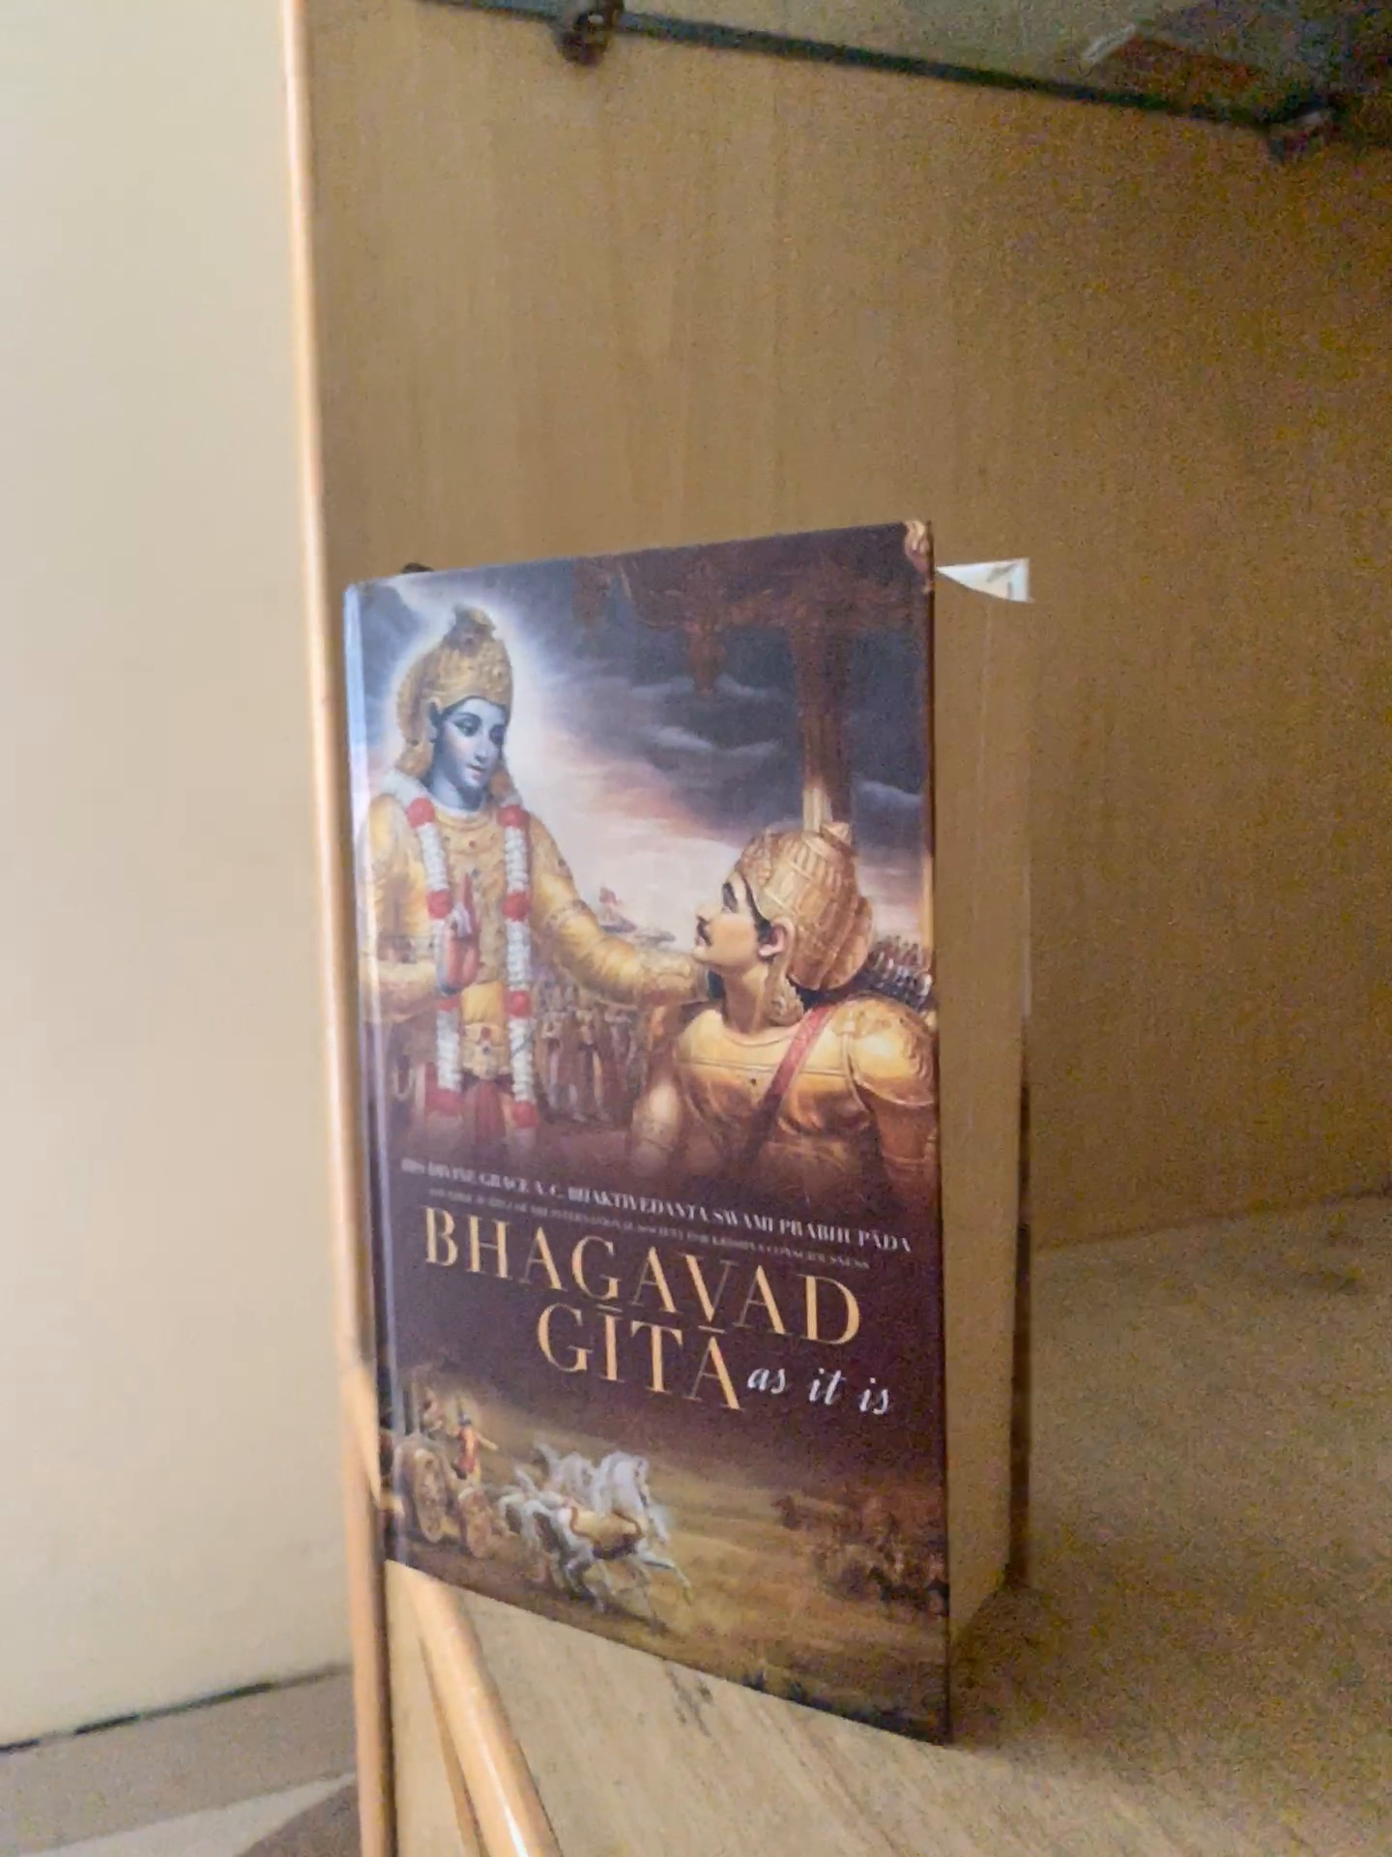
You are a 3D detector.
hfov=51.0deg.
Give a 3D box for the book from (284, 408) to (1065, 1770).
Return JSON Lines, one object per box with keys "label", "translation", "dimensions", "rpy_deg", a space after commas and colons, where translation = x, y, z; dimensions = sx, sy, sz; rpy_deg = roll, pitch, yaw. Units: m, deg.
{"label": "book", "translation": [-0.005, 0.023, 0.299], "dimensions": [0.140, 0.220, 0.070], "rpy_deg": [2, 5, 31]}
